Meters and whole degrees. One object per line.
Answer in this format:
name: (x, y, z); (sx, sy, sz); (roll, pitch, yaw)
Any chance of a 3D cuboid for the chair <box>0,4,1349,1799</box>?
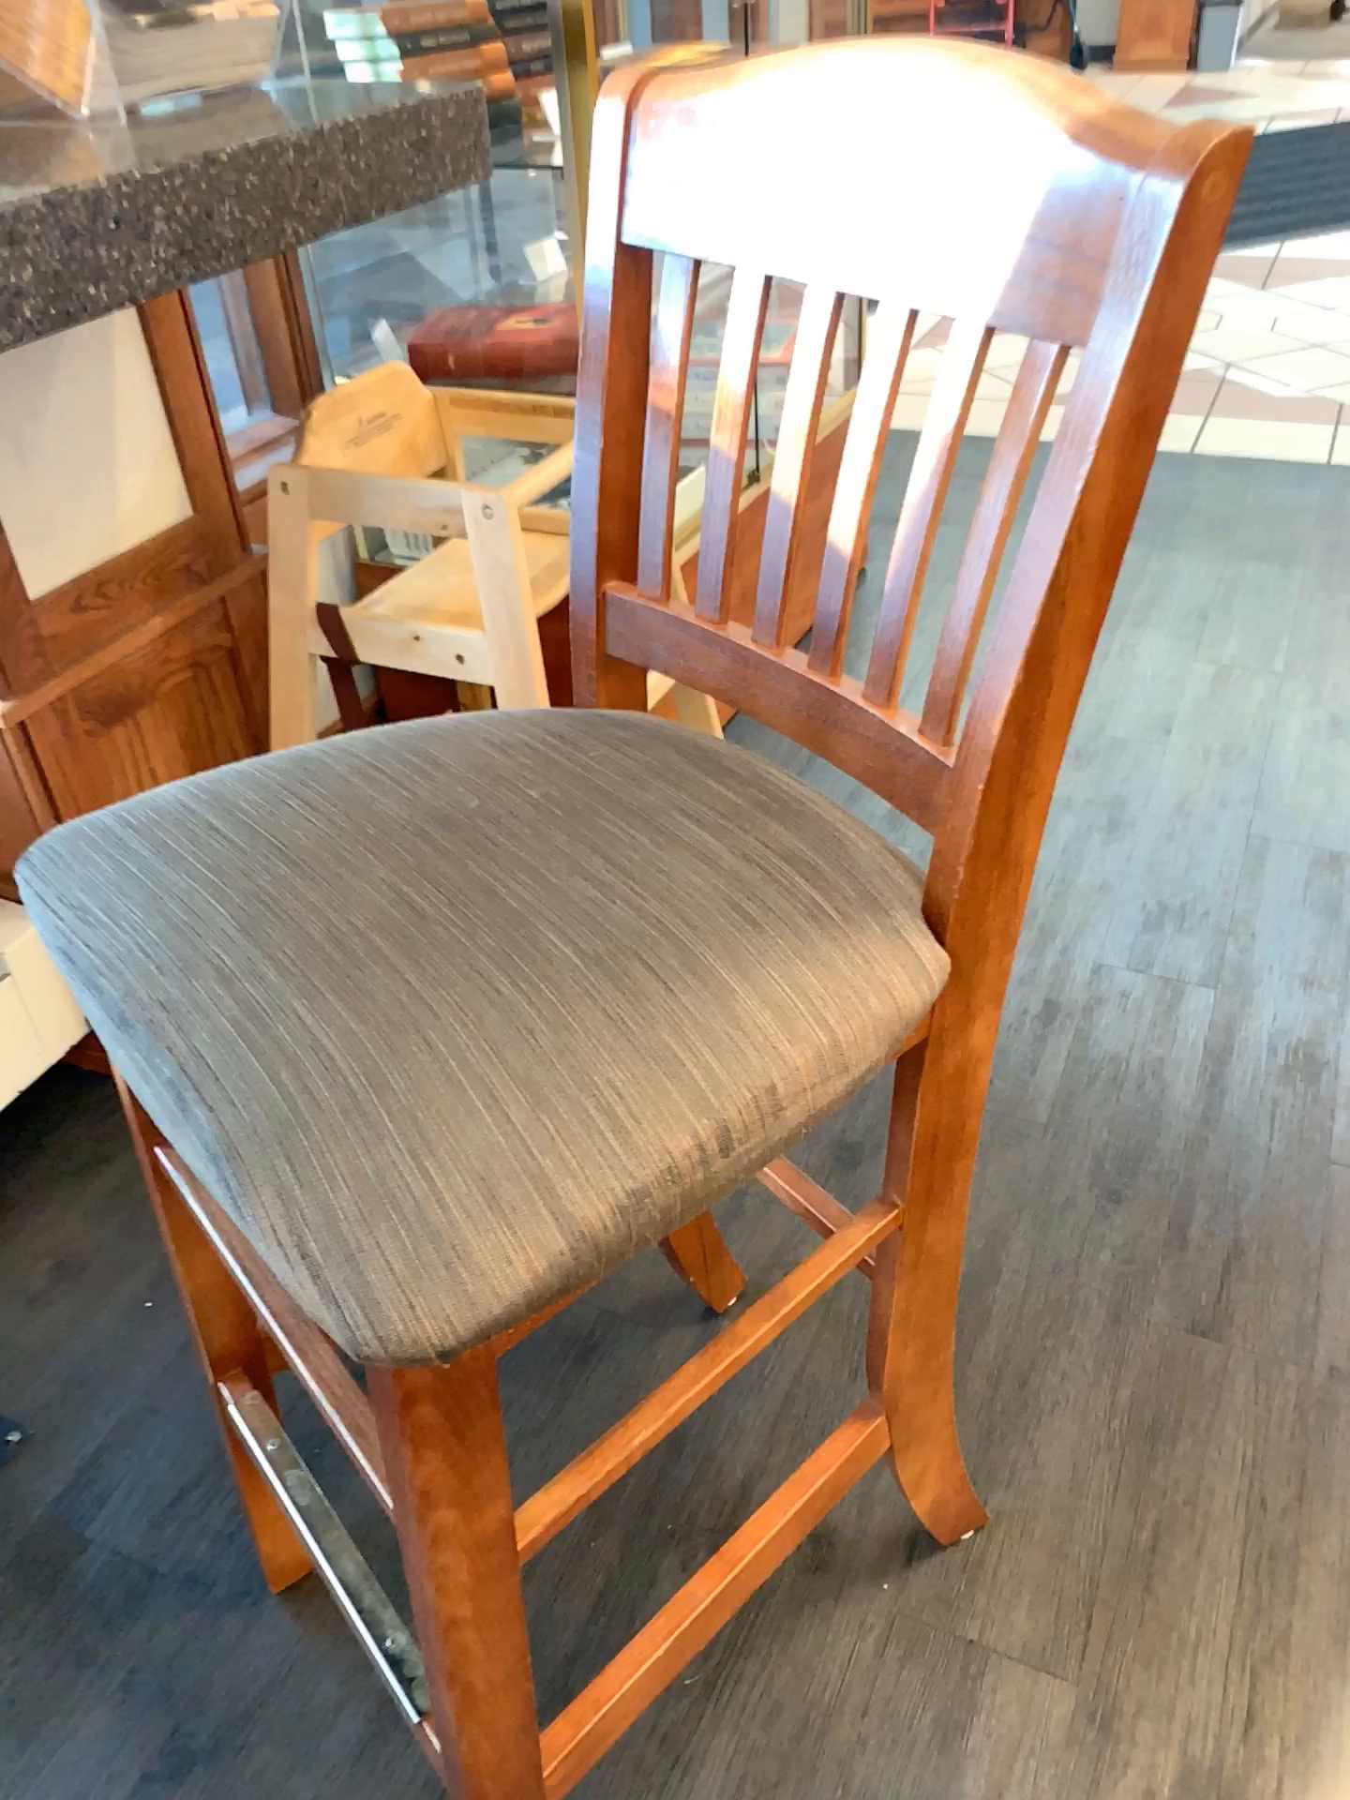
chair: (-0.067, 0.063, 0.914); (0.661, 1.045, 0.602); (-25, 41, -26)
